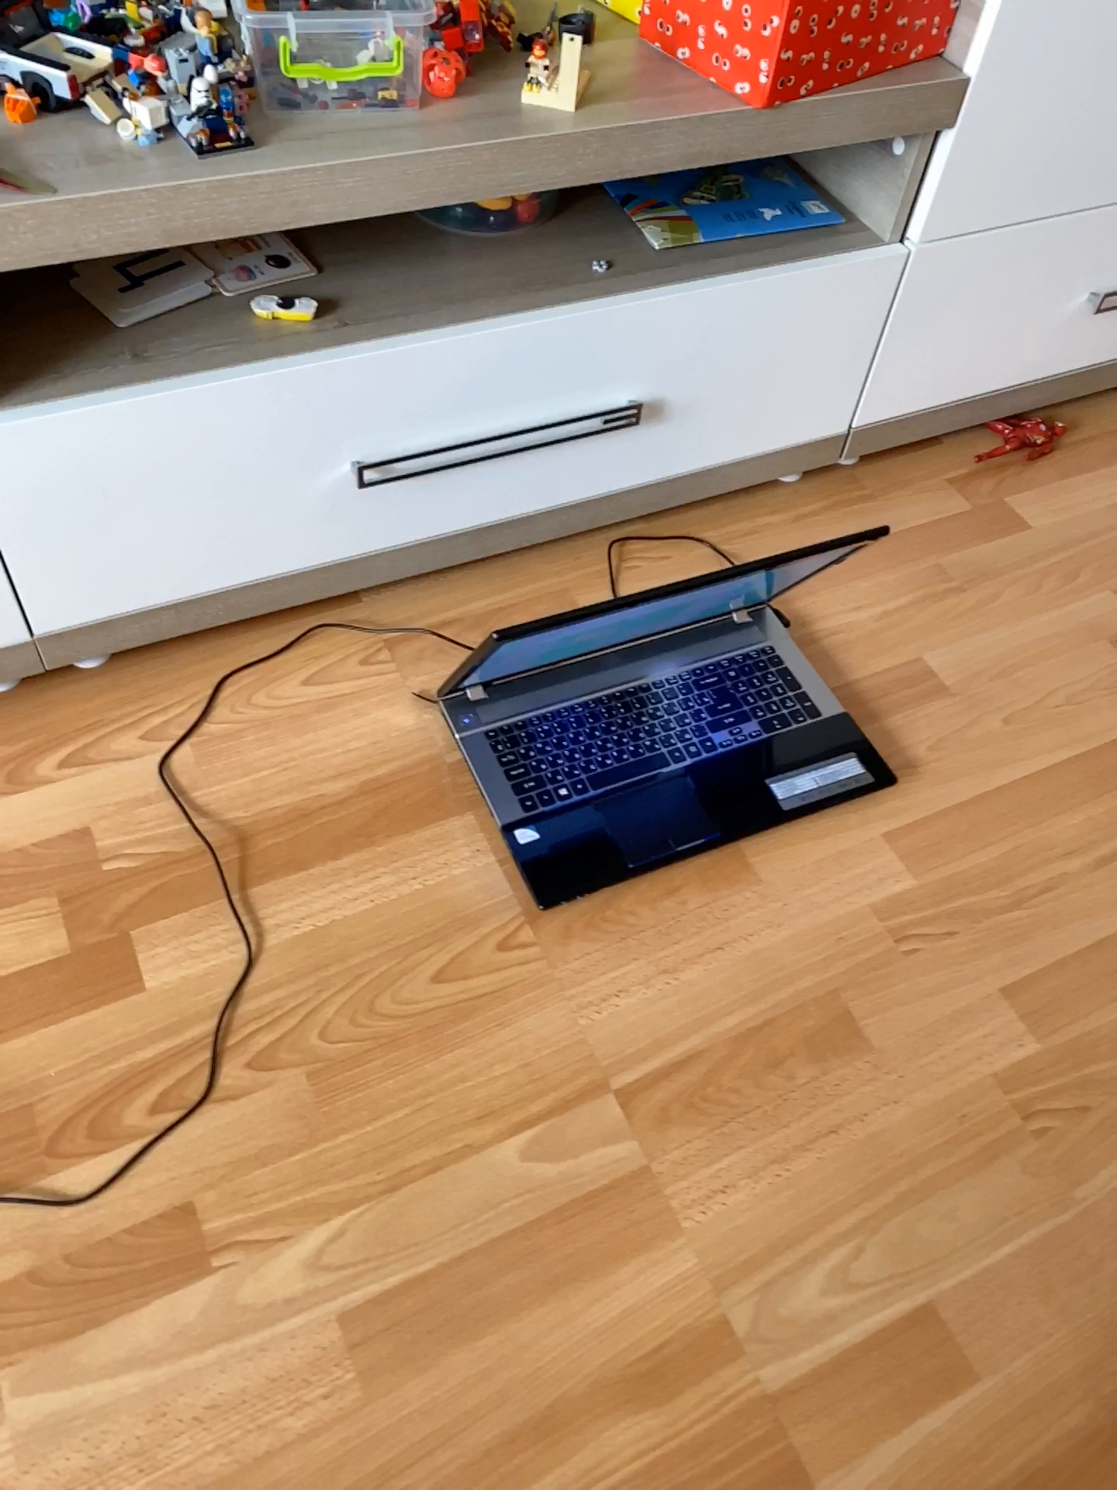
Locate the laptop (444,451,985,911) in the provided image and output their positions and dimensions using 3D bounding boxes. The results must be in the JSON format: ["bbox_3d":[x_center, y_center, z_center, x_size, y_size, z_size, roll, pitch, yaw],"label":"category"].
[{"bbox_3d":[0.129,-0.073,1.109,0.412,0.233,0.269,-16,55,-18],"label":"laptop"}]
